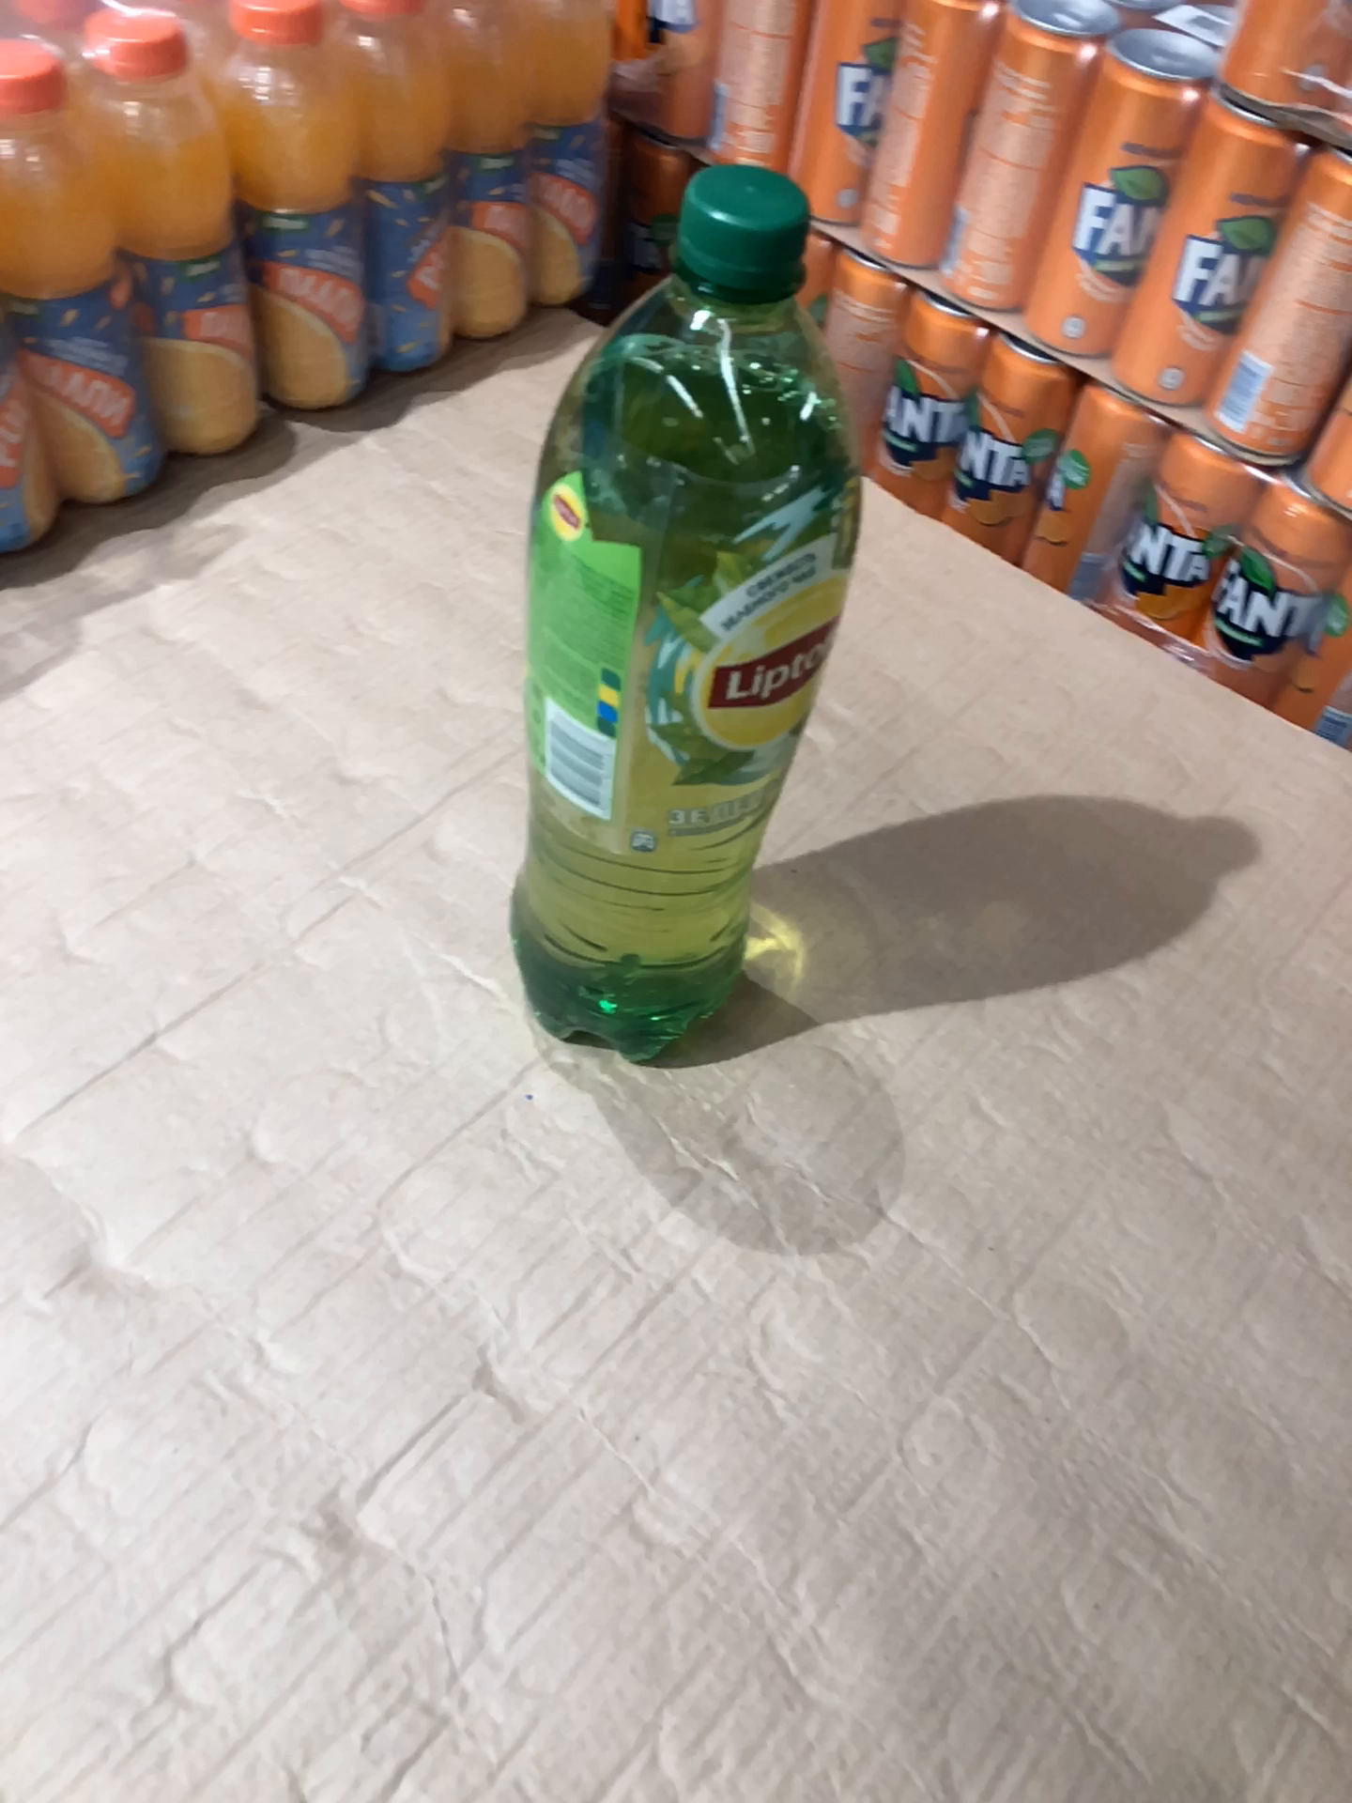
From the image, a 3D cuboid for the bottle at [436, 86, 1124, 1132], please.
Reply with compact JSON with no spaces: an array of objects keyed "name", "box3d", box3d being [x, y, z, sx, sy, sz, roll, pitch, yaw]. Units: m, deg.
[{"name":"bottle","box3d":[0.011,-0.073,0.473,0.120,0.288,0.120,4,51,-5]}]
